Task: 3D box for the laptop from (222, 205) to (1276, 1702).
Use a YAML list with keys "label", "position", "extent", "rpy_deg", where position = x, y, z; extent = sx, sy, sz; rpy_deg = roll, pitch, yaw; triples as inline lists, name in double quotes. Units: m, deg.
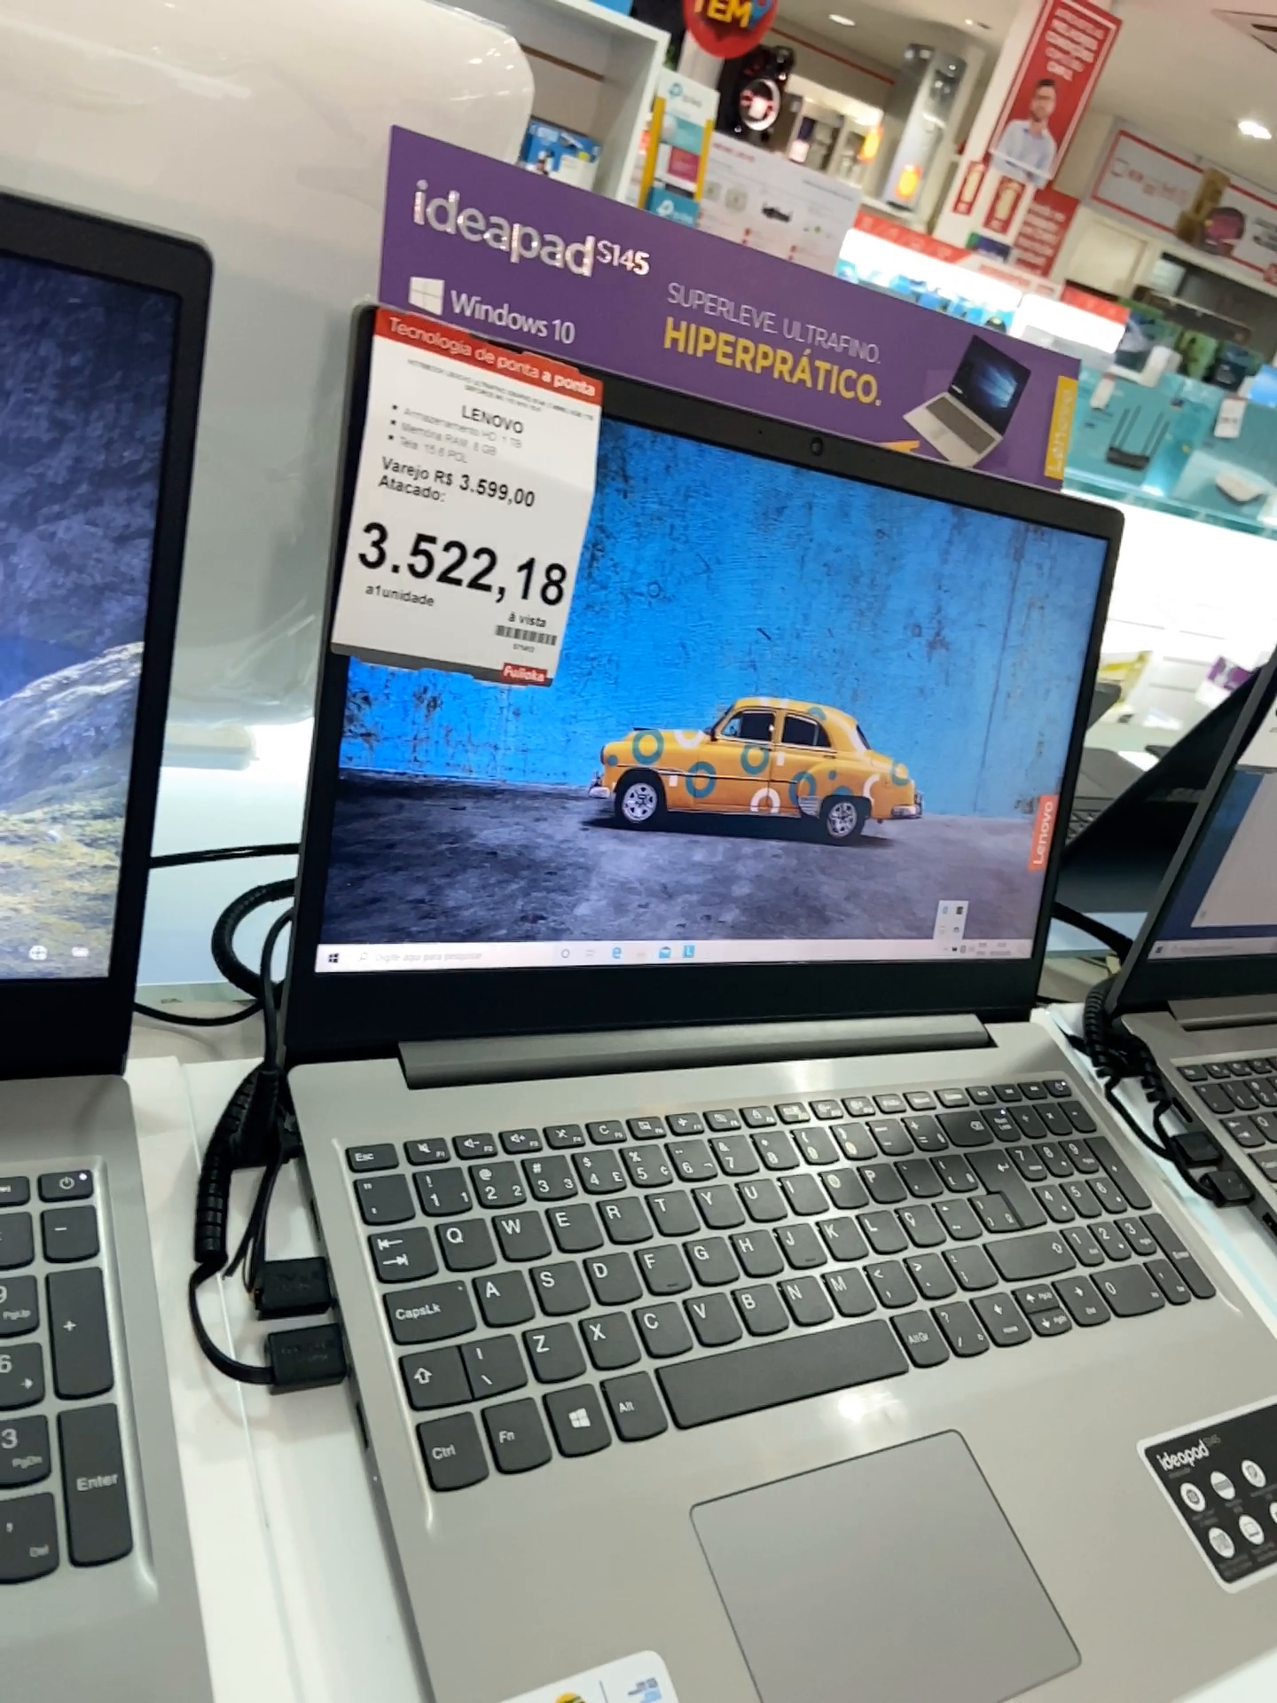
- label: "laptop"
  position: [0.088, 0.020, 0.420]
  extent: [0.347, 0.209, 0.366]
  rpy_deg: [2, 38, -31]
